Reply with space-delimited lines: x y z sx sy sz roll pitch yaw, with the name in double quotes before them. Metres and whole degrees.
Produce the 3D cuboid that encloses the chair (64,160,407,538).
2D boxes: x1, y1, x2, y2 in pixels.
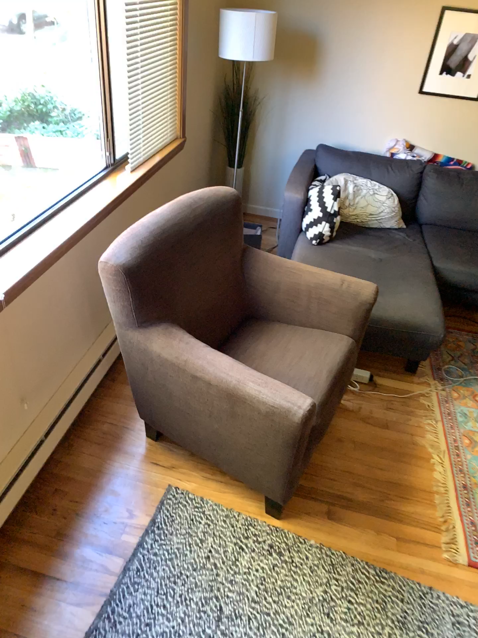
"chair" 0.038 0.025 1.826 0.802 0.874 0.884 17 37 20
